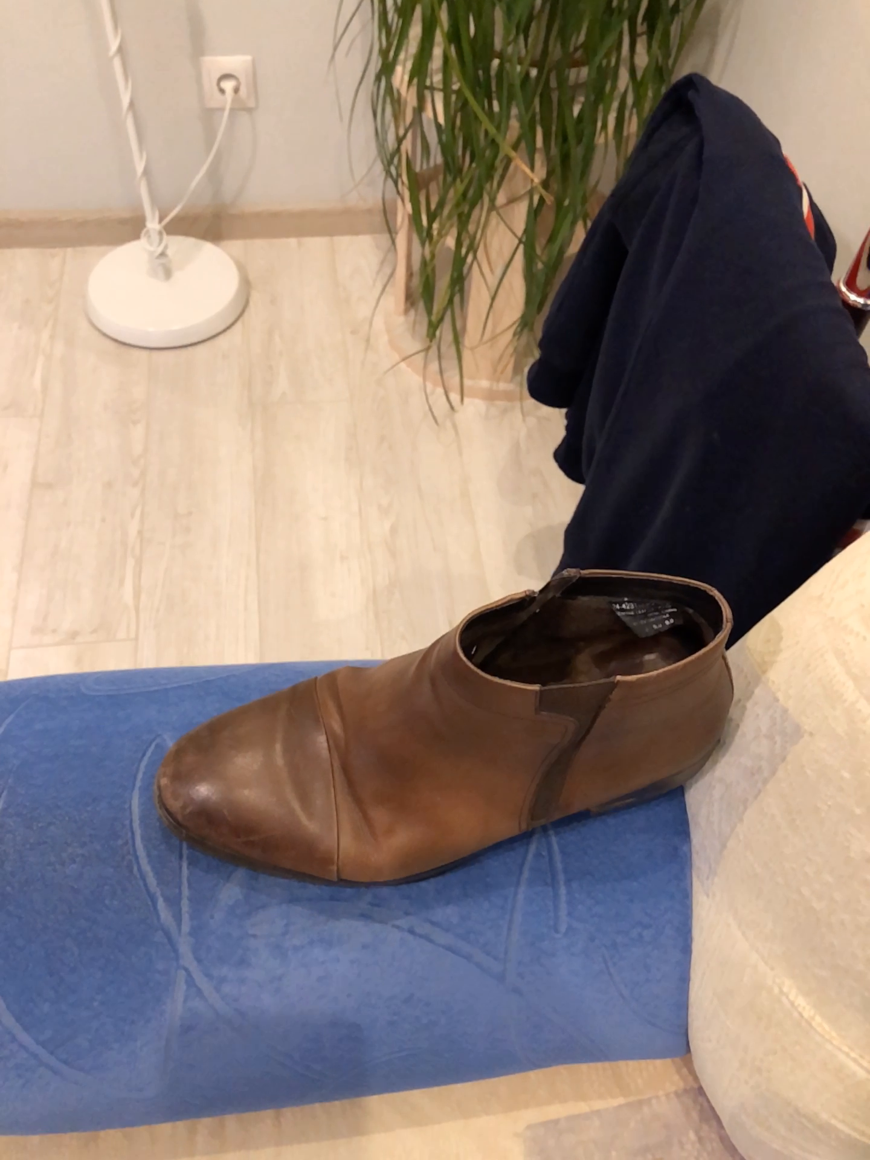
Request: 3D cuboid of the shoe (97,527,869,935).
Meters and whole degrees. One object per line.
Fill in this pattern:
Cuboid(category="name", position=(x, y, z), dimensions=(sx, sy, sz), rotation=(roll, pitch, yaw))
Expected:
Cuboid(category="shoe", position=(0.015, 0.073, 0.463), dimensions=(0.310, 0.139, 0.111), rotation=(-5, 55, -9))
